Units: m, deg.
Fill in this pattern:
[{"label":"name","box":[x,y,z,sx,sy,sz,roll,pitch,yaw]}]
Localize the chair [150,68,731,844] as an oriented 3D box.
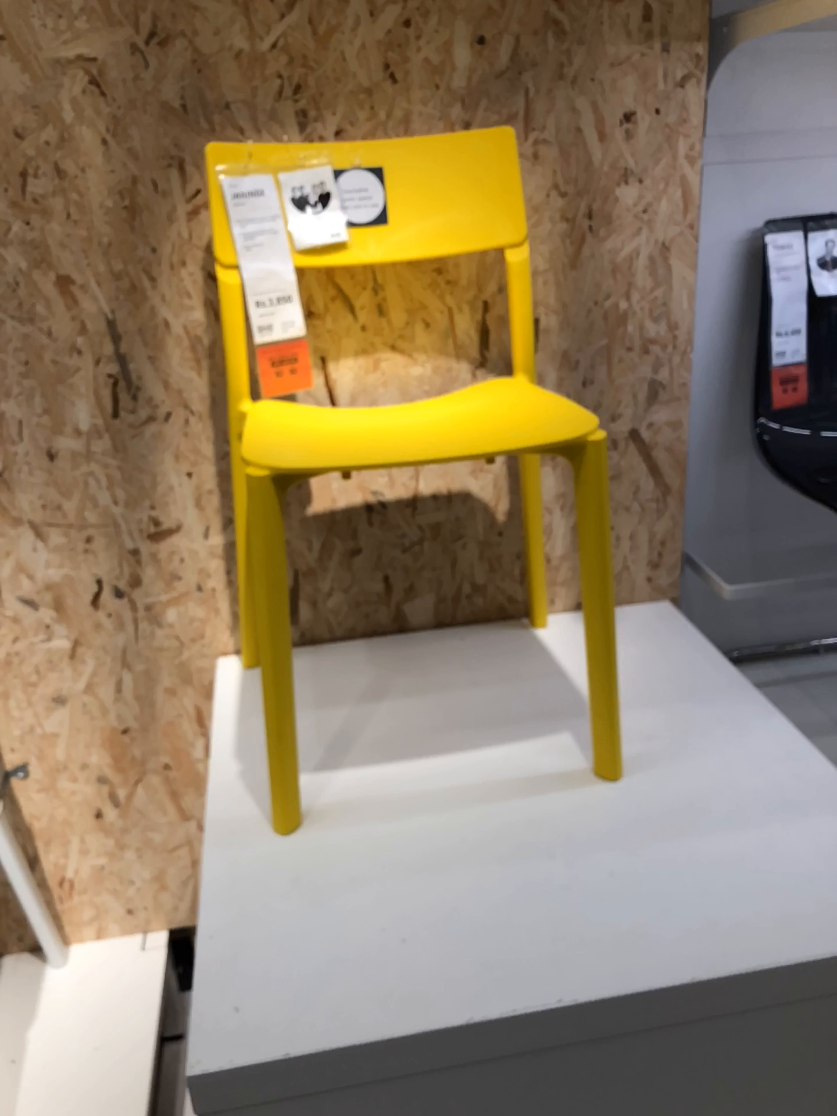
[{"label":"chair","box":[0.005,-0.139,1.057,0.460,0.676,0.462,-7,22,-9]}]
